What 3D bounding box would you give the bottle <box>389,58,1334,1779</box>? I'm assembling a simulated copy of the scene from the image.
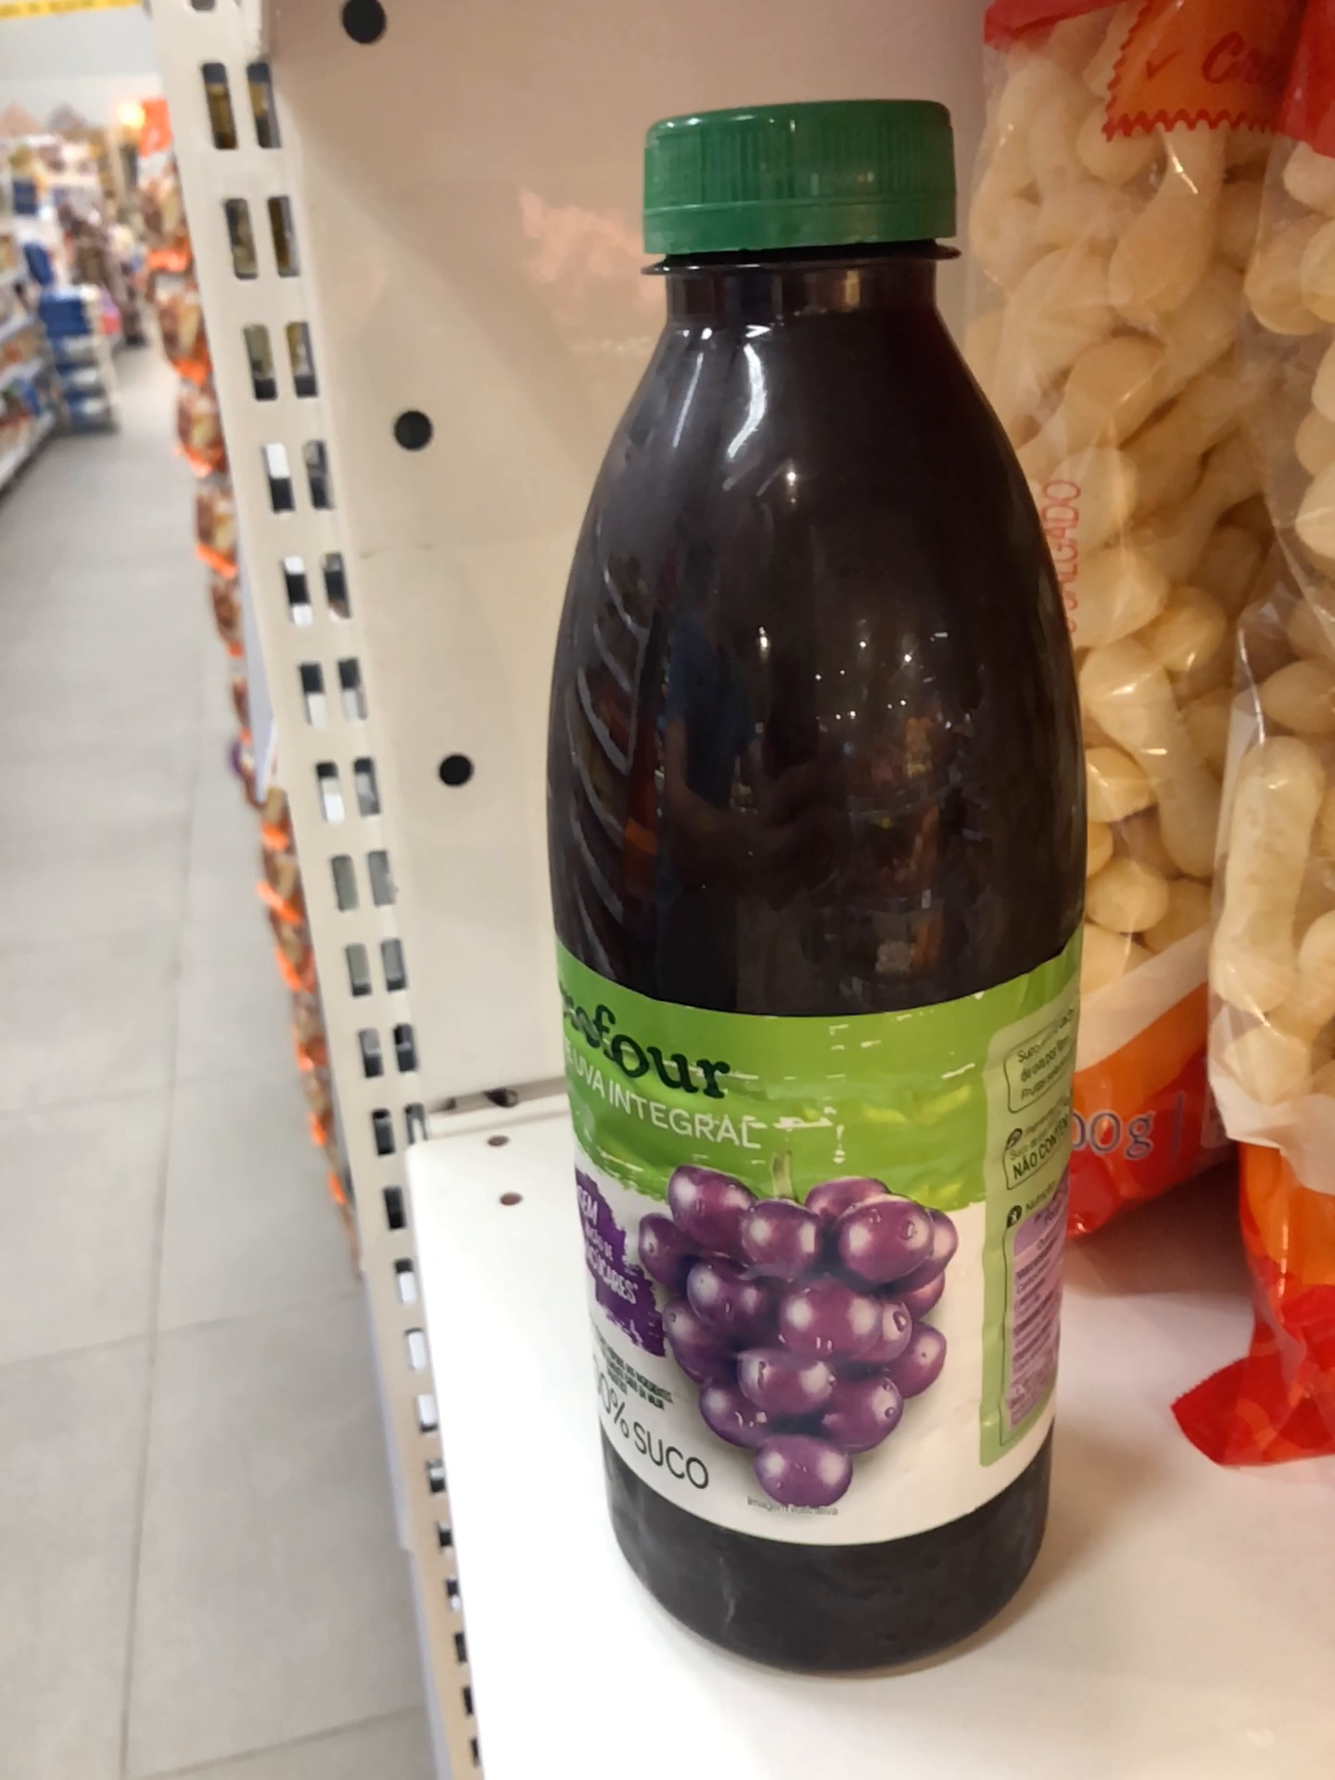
[{"bbox_3d":[0.028,0.012,0.221,0.080,0.228,0.090,-17,28,-27],"label":"bottle"}]
